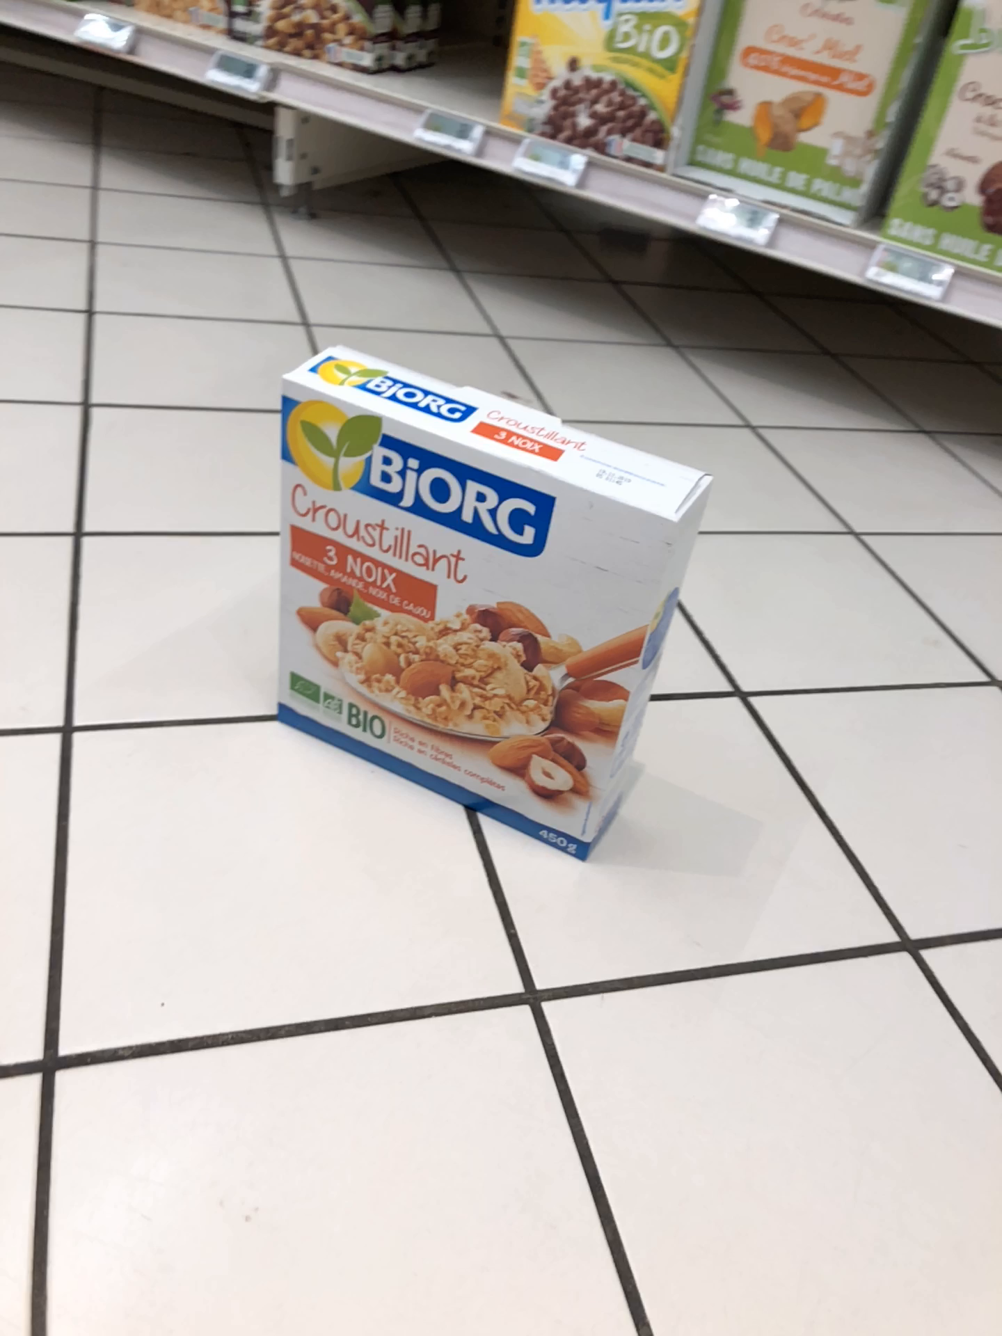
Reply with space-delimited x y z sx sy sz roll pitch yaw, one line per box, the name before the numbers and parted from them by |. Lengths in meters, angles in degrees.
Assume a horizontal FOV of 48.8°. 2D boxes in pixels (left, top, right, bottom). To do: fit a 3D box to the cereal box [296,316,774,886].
cereal box | 0.000 -0.031 0.552 0.210 0.219 0.060 26 42 21
